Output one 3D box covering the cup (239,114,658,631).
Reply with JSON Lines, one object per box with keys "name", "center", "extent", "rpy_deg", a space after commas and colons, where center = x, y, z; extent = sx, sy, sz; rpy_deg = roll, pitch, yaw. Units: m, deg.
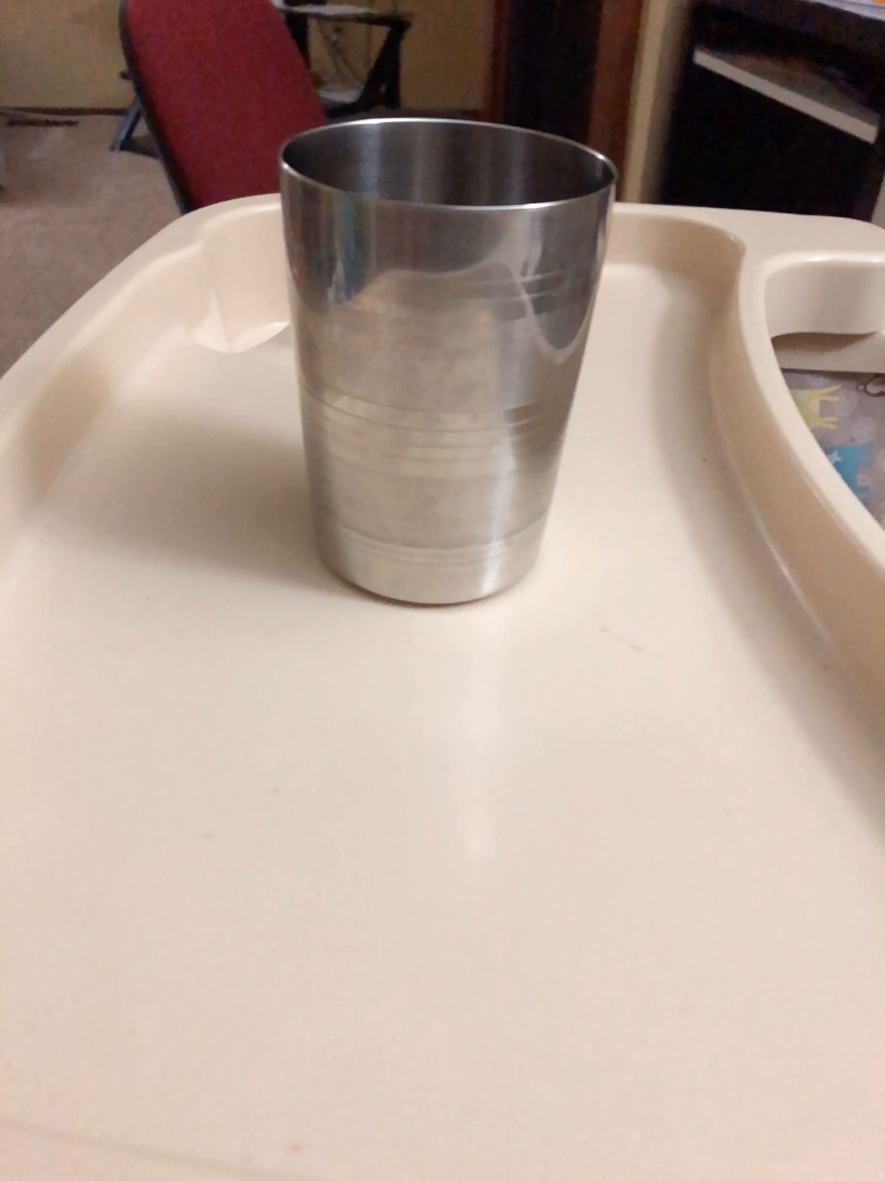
{"name": "cup", "center": [0.001, -0.051, 0.226], "extent": [0.072, 0.090, 0.074], "rpy_deg": [2, 37, -1]}
